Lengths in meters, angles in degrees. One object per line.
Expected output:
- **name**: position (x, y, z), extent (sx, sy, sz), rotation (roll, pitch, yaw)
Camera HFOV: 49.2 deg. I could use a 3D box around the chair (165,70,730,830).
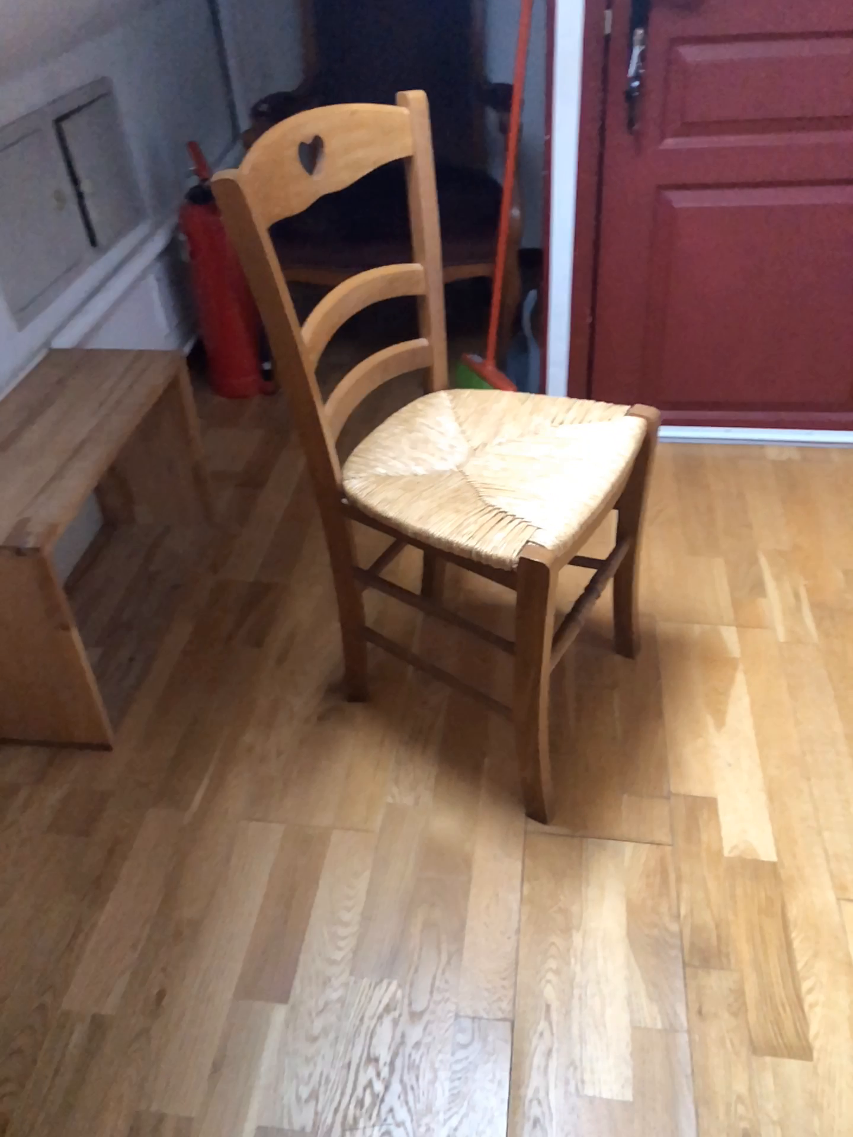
- **chair**: position (0.067, -0.157, 1.216), extent (0.433, 0.793, 0.461), rotation (15, 41, 24)
